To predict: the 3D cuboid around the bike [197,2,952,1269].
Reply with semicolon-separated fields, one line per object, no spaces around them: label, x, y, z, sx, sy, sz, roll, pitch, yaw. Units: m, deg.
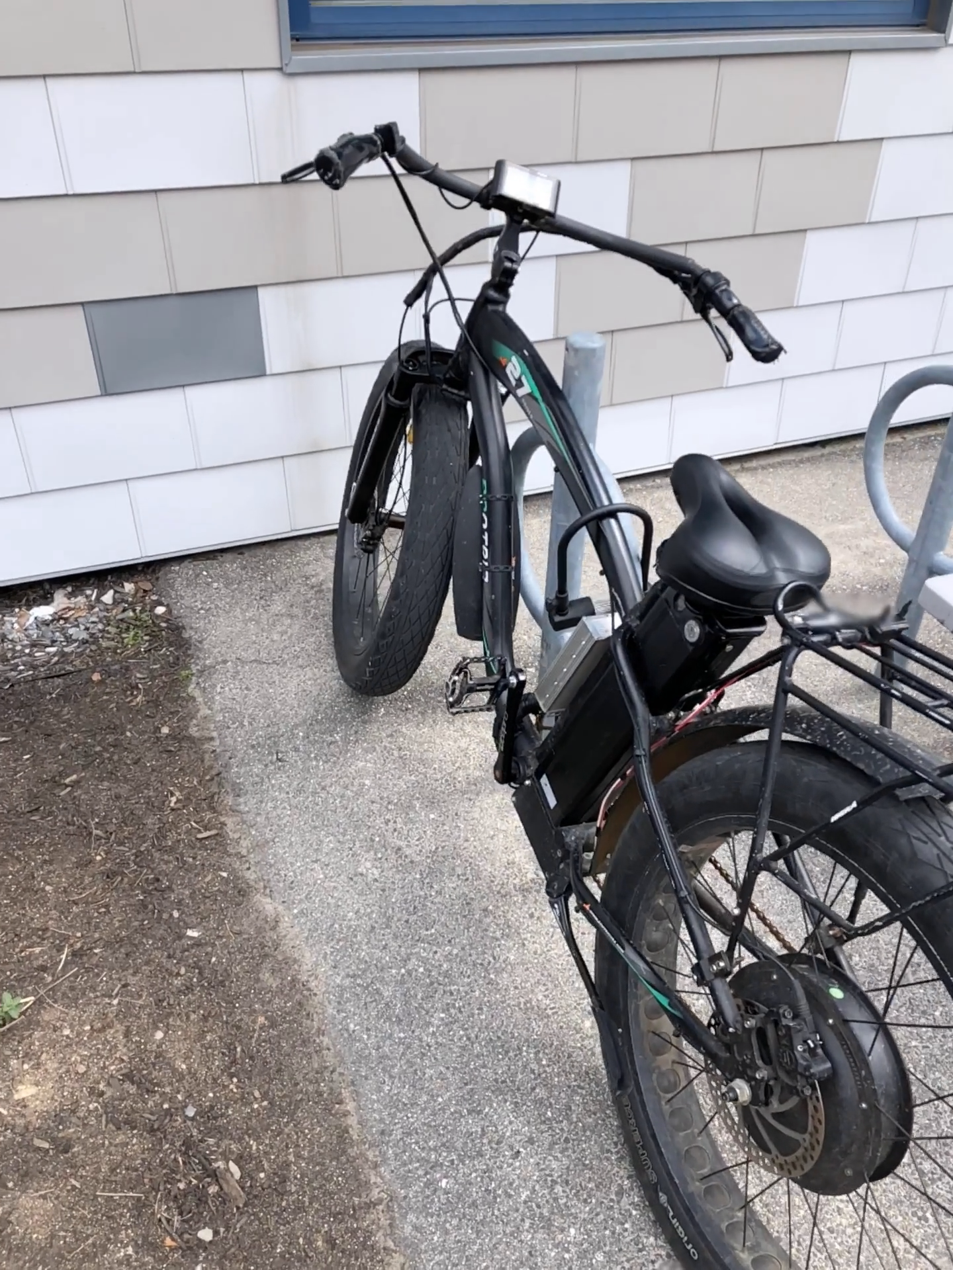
bike;0.257;-0.144;1.644;0.878;1.170;2.122;-12;41;-18
